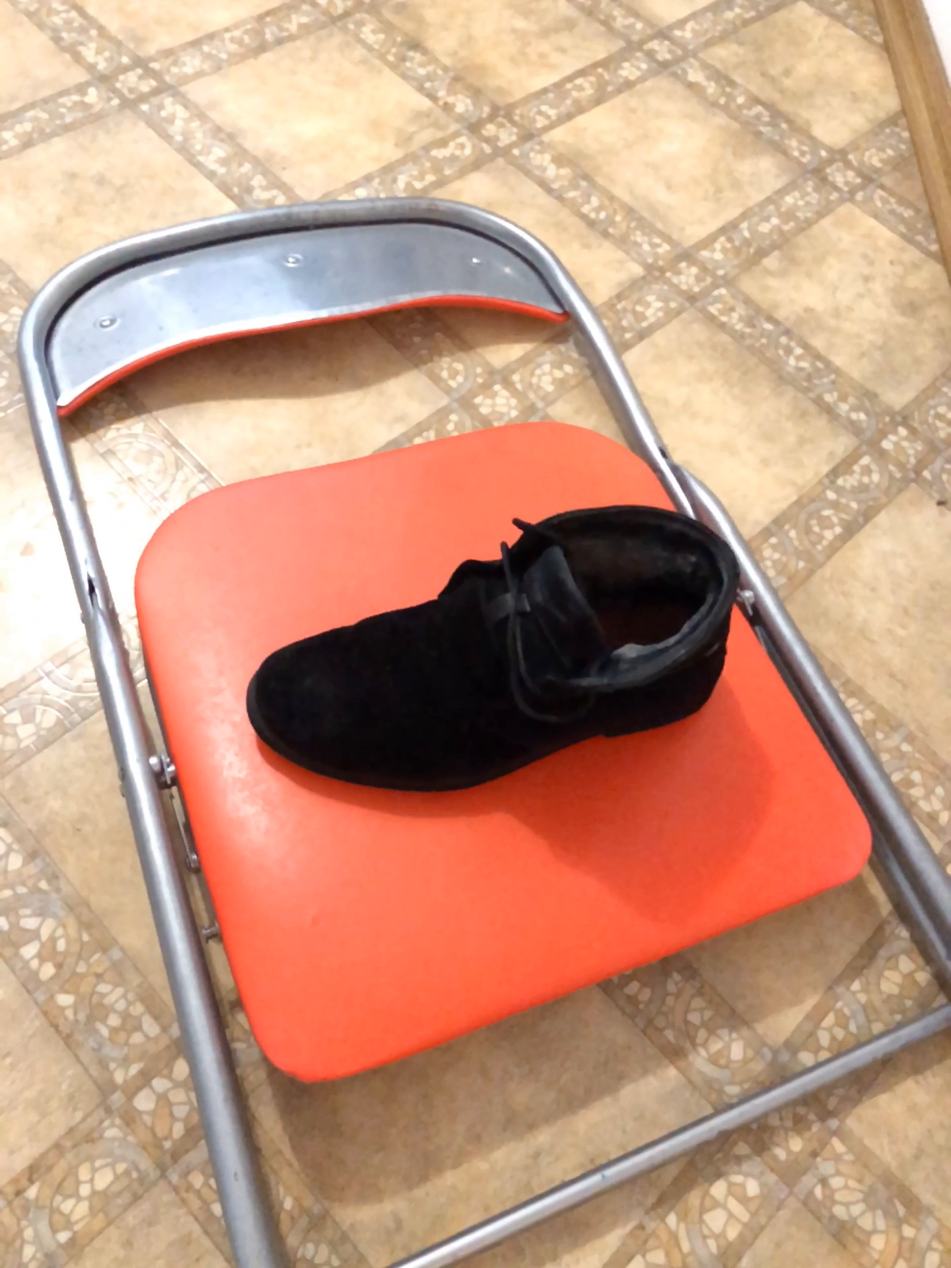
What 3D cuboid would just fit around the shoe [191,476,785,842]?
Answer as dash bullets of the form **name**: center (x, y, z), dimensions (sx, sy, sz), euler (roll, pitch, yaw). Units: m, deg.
- **shoe**: center (-0.001, 0.014, 0.559), dimensions (0.270, 0.129, 0.110), euler (-9, 63, -13)
